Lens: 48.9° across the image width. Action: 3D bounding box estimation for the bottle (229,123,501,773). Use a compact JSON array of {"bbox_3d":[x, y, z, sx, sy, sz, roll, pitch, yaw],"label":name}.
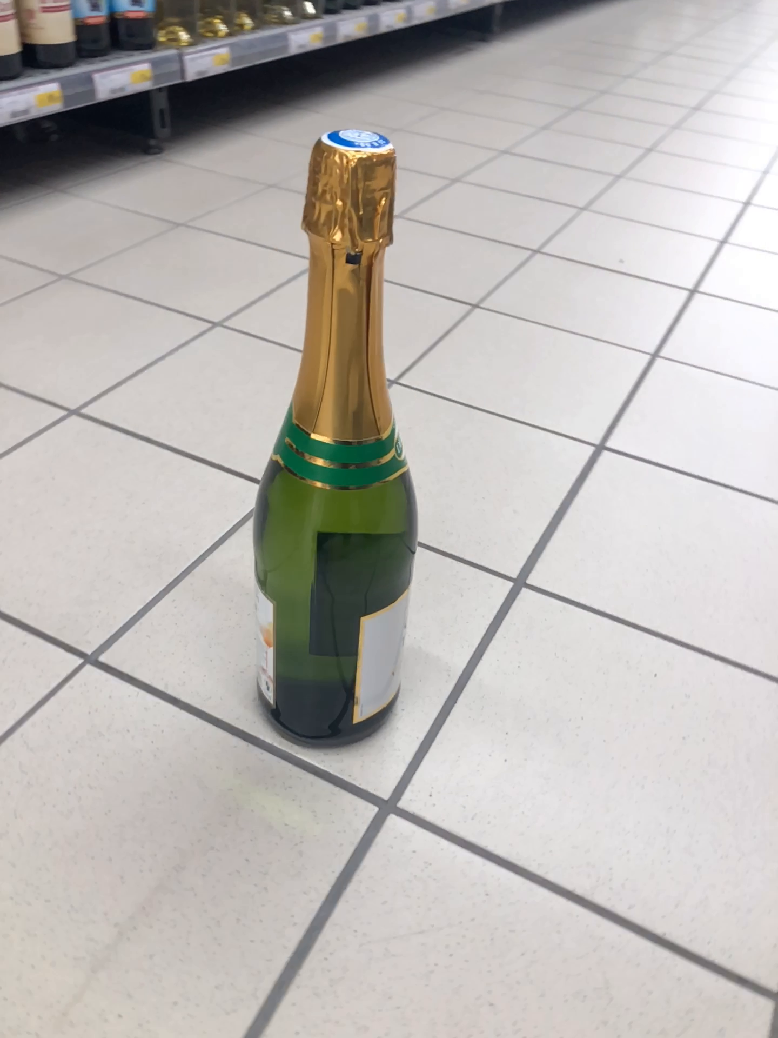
[{"bbox_3d":[-0.024,-0.014,0.405,0.090,0.298,0.091,3,37,-3],"label":"bottle"}]
